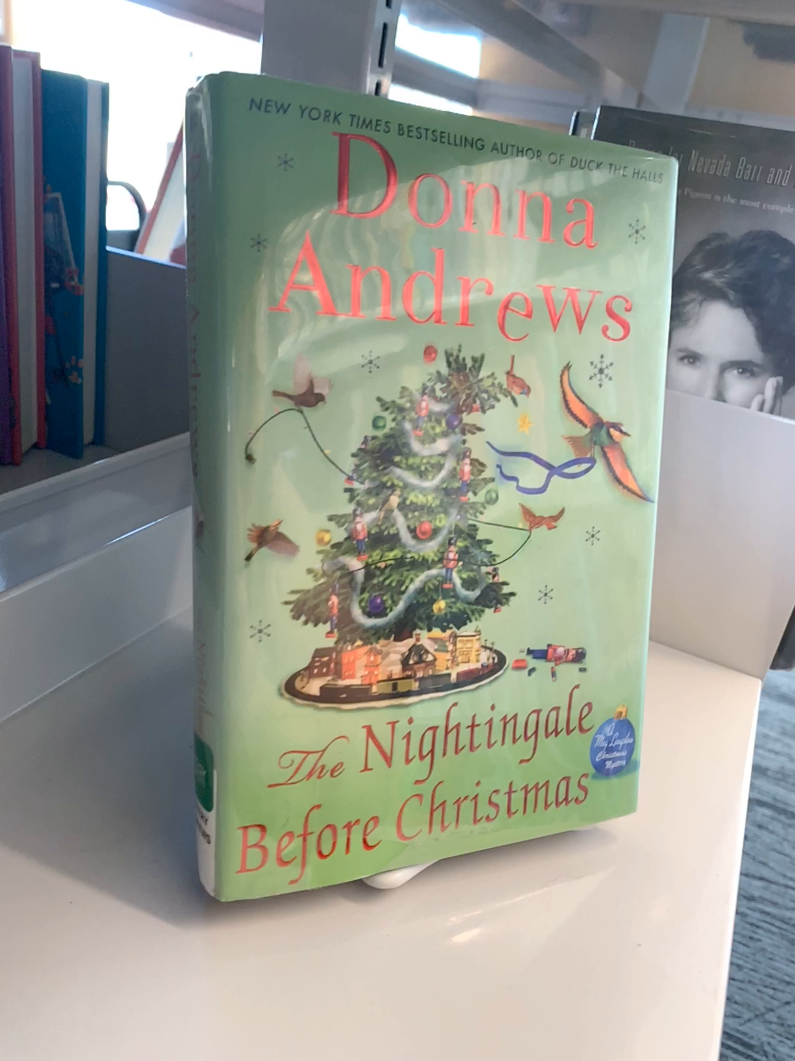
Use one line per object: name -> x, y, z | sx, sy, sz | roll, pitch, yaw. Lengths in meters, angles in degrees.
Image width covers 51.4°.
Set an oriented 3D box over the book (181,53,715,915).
book -> 0.015, -0.009, 0.239 | 0.145, 0.200, 0.040 | -2, 8, -24
